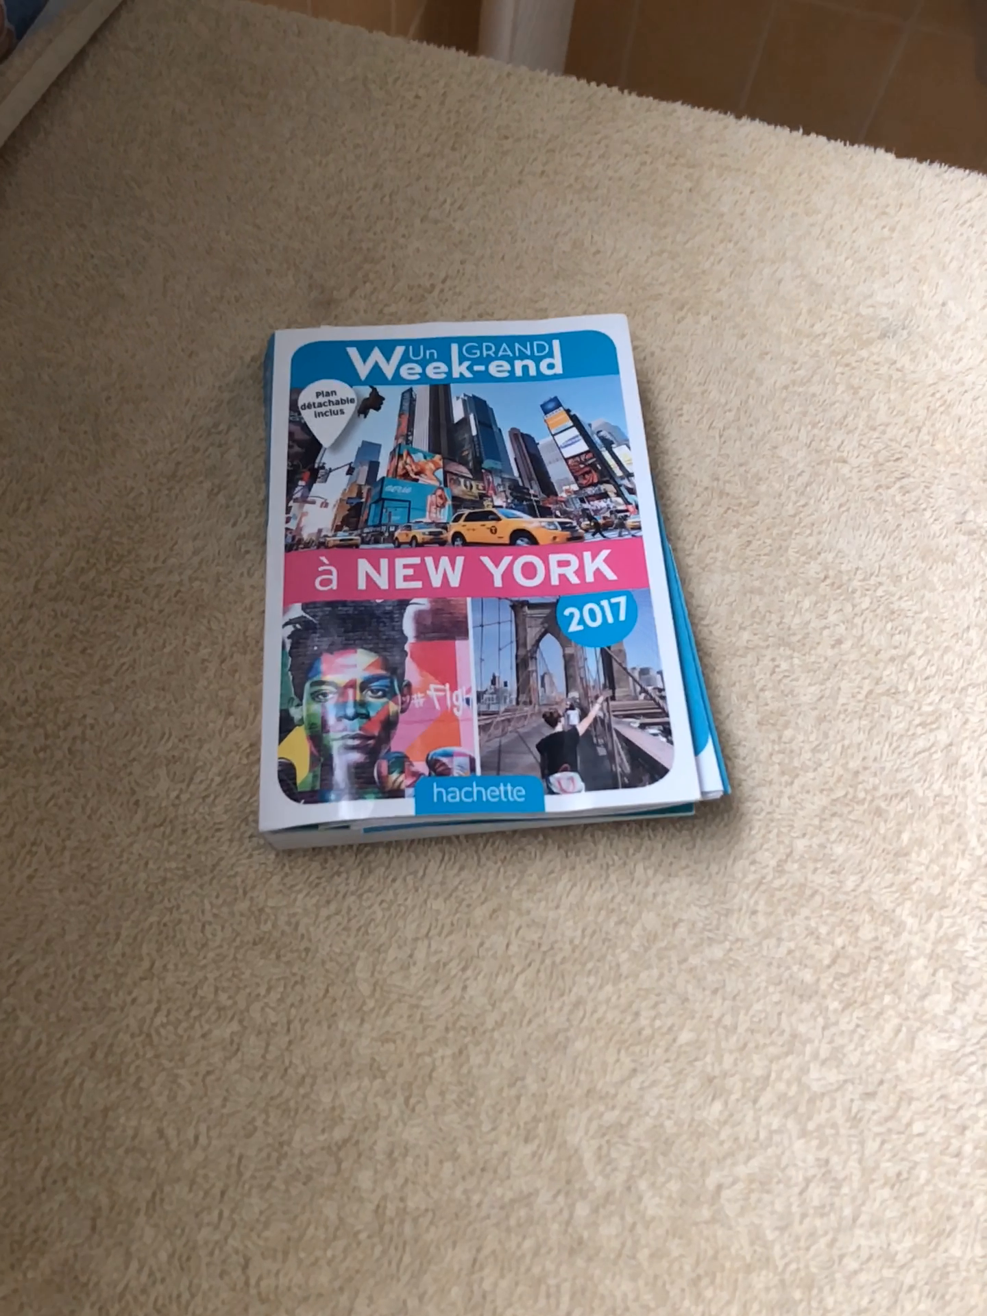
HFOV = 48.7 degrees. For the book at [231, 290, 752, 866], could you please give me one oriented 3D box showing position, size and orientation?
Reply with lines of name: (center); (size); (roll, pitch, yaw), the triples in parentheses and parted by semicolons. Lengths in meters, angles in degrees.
book: (-0.006, -0.029, 0.295); (0.120, 0.020, 0.160); (-4, 63, -1)
